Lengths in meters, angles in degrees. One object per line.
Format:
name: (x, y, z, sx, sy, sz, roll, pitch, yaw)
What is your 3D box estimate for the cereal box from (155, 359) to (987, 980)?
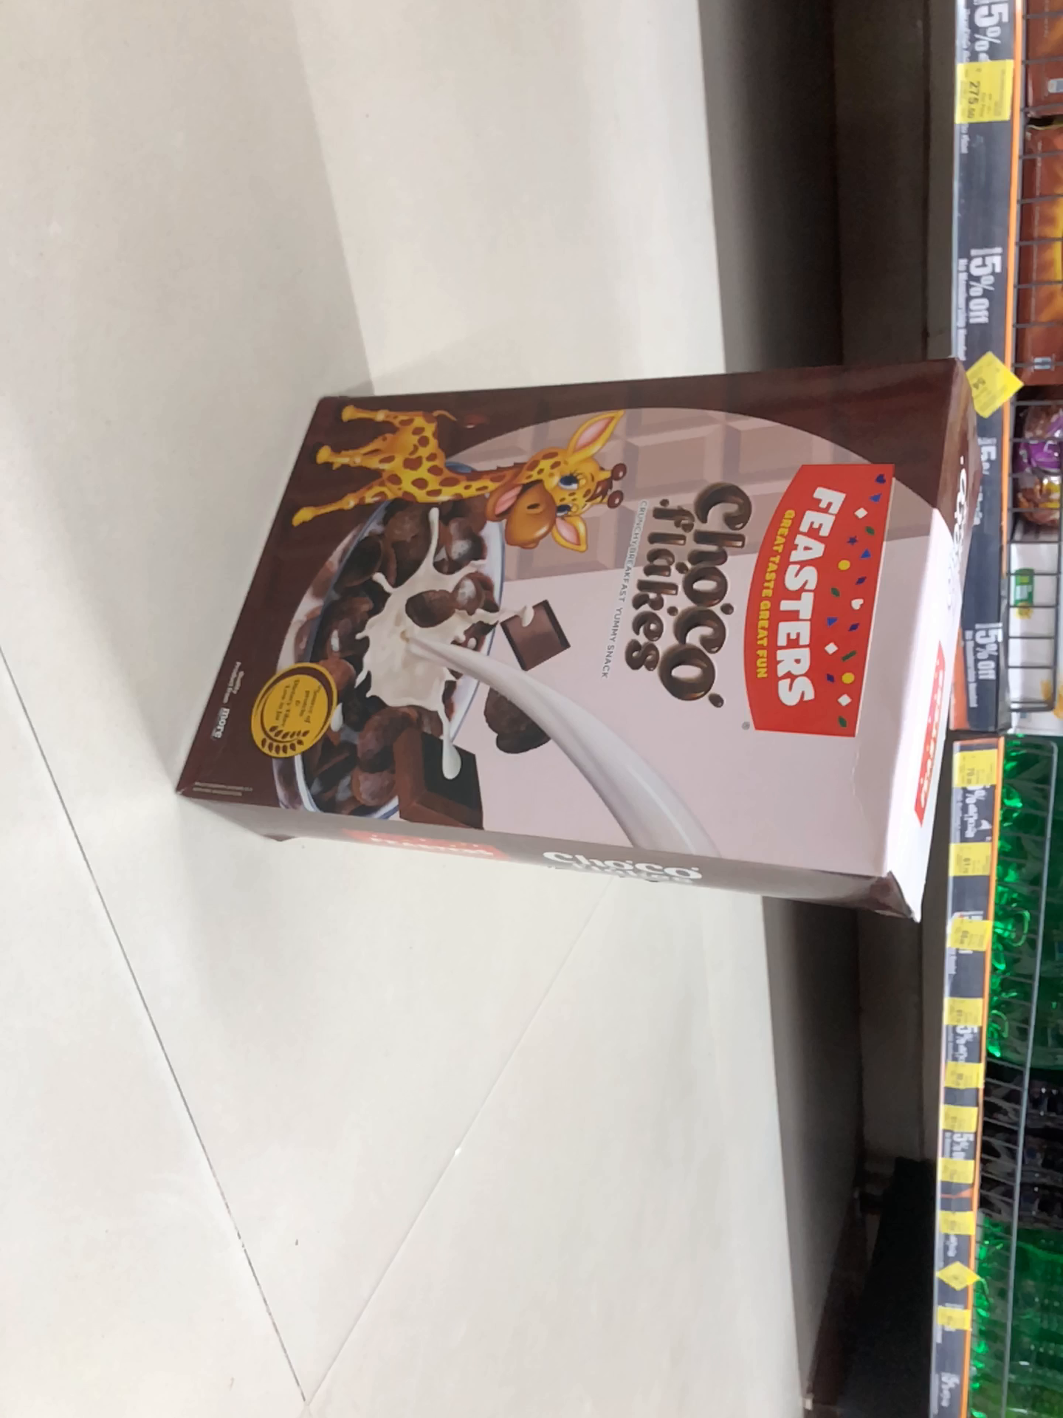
cereal box: (0.016, -0.025, 0.434, 0.050, 0.268, 0.200, 51, 48, -57)
